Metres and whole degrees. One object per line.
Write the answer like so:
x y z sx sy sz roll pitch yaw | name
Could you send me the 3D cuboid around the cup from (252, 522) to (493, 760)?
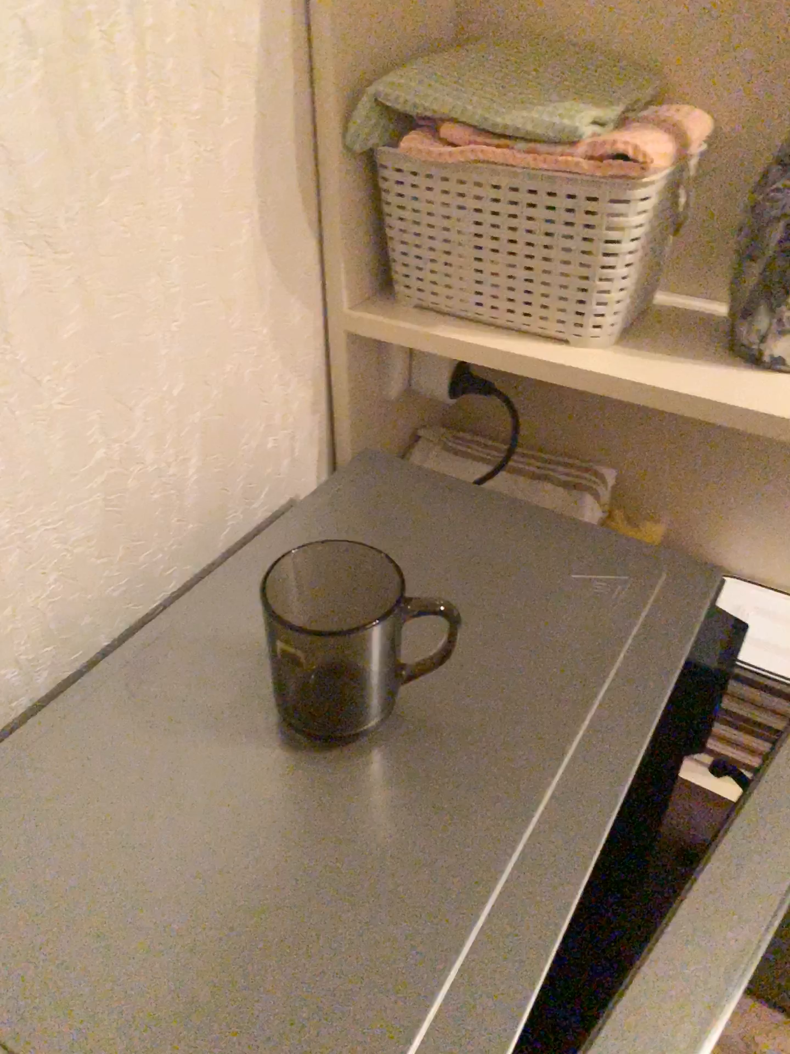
-0.015 0.057 0.421 0.110 0.079 0.081 -4 37 -6 | cup
